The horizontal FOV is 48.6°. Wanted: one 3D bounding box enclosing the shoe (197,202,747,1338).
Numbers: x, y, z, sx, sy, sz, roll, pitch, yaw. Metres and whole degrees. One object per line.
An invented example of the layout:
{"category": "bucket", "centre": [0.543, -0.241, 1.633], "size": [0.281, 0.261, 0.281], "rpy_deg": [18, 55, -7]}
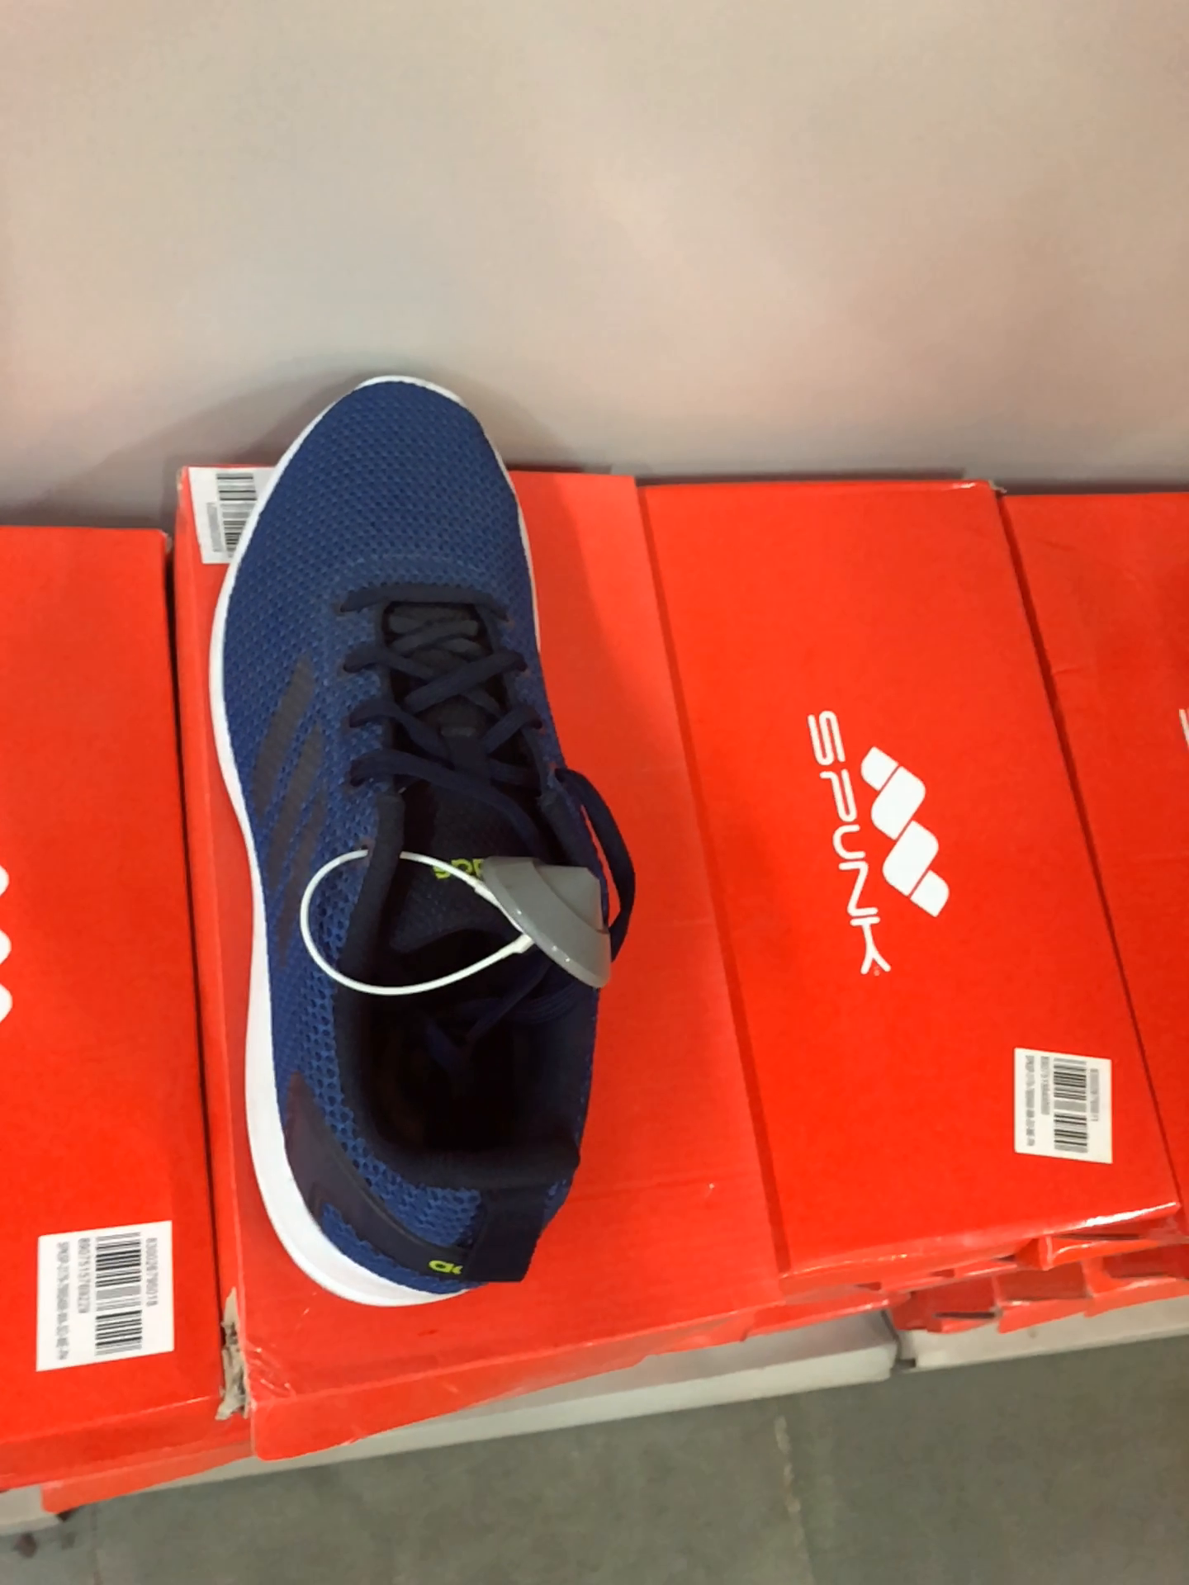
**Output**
{"category": "shoe", "centre": [-0.057, -0.014, 0.404], "size": [0.113, 0.114, 0.316], "rpy_deg": [-2, 66, -18]}
